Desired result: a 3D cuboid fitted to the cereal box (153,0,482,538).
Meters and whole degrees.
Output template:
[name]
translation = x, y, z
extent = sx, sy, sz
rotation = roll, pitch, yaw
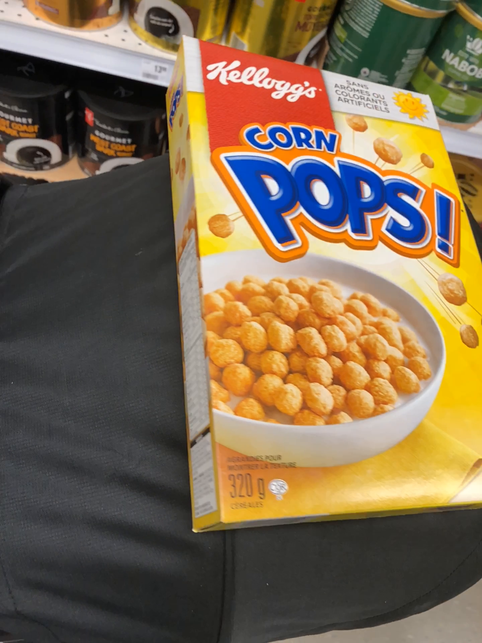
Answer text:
[cereal box]
translation = 0.055, -0.049, 0.332
extent = 0.200, 0.060, 0.320
rotation = 3, 66, -19
